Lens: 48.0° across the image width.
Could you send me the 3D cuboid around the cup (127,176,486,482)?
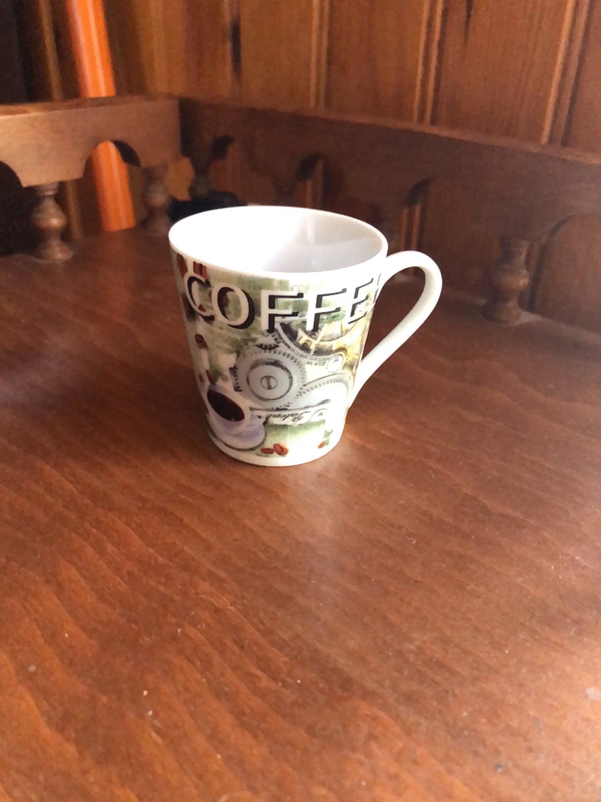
[{"bbox_3d":[-0.002,-0.026,0.194,0.080,0.060,0.060,-9,32,-17],"label":"cup"}]
